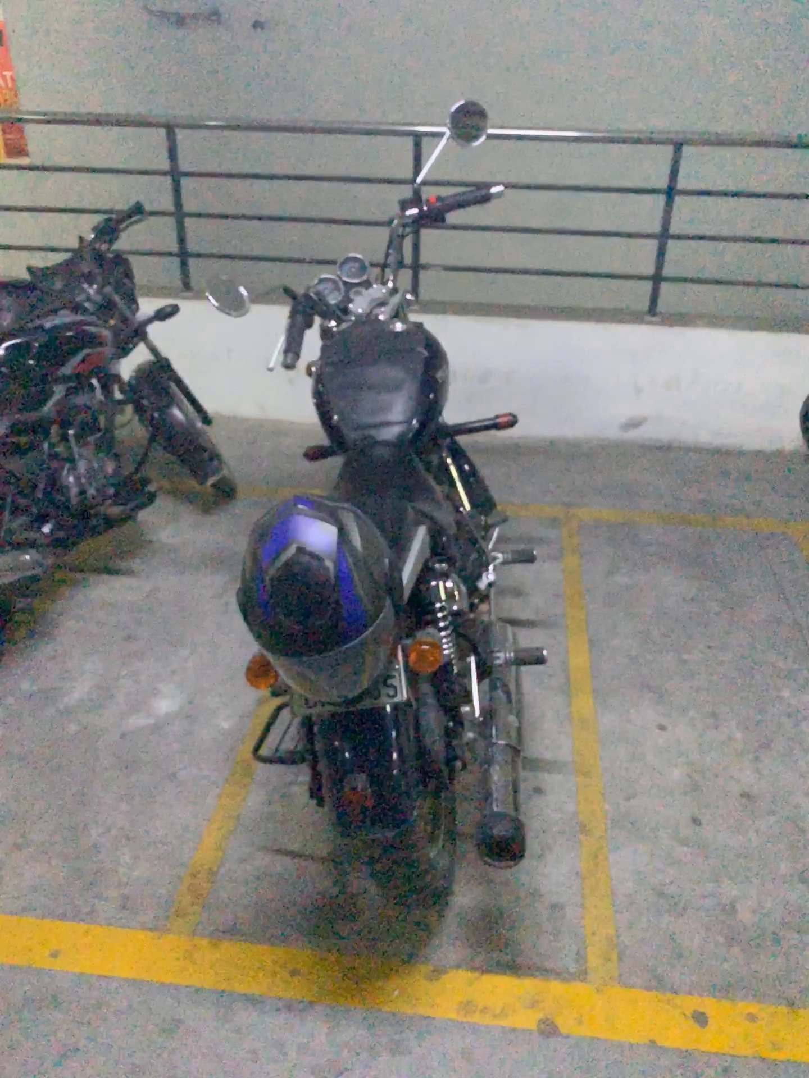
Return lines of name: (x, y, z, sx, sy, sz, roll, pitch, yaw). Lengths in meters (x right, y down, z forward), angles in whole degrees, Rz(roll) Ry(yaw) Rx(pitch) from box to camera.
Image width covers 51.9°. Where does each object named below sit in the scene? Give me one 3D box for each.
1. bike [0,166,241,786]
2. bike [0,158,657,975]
bike: (-1.182, -0.335, 2.466, 0.594, 1.193, 1.508, 12, 33, 18)
bike: (-0.202, -0.120, 2.075, 0.841, 1.303, 1.674, -1, 31, -5)
